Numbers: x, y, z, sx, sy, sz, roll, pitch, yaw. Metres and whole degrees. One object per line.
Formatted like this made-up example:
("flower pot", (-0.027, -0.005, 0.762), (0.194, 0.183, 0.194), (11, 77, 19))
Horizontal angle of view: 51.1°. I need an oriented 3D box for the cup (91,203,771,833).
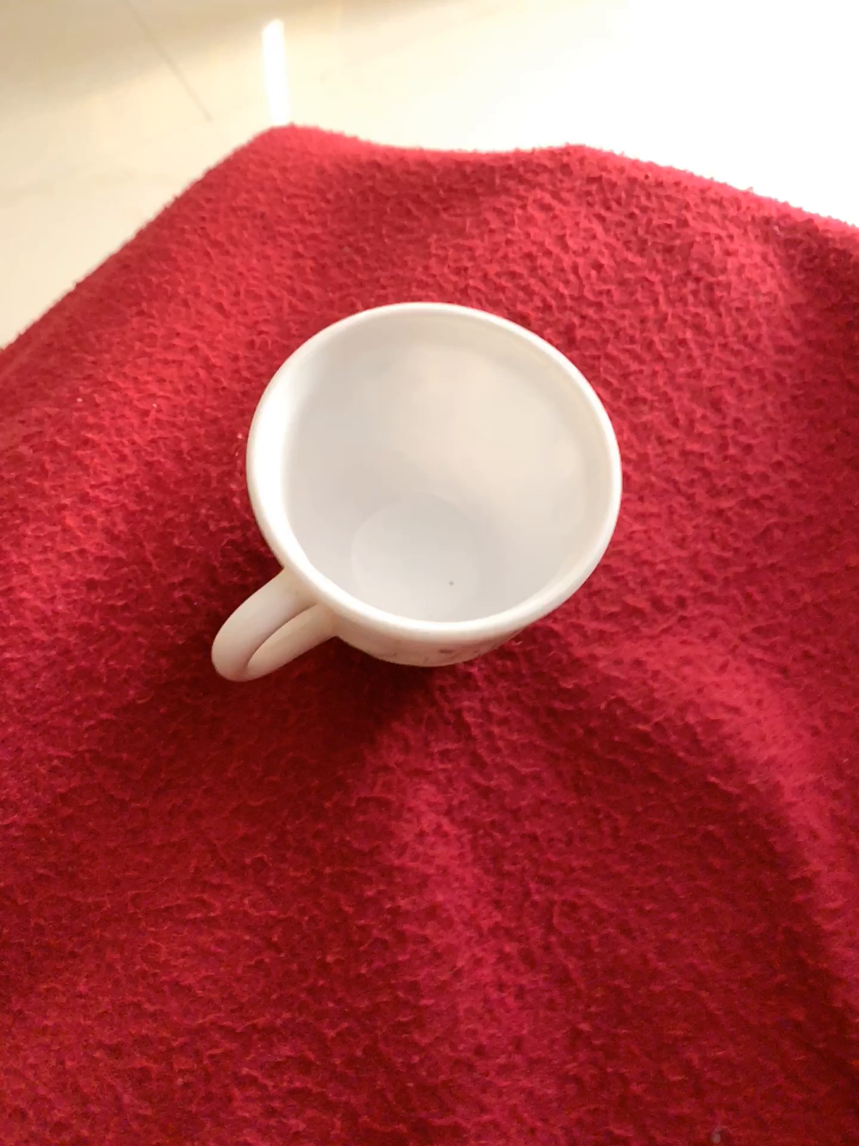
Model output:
("cup", (0.000, -0.013, 0.192), (0.100, 0.050, 0.080), (-37, 72, -16))
